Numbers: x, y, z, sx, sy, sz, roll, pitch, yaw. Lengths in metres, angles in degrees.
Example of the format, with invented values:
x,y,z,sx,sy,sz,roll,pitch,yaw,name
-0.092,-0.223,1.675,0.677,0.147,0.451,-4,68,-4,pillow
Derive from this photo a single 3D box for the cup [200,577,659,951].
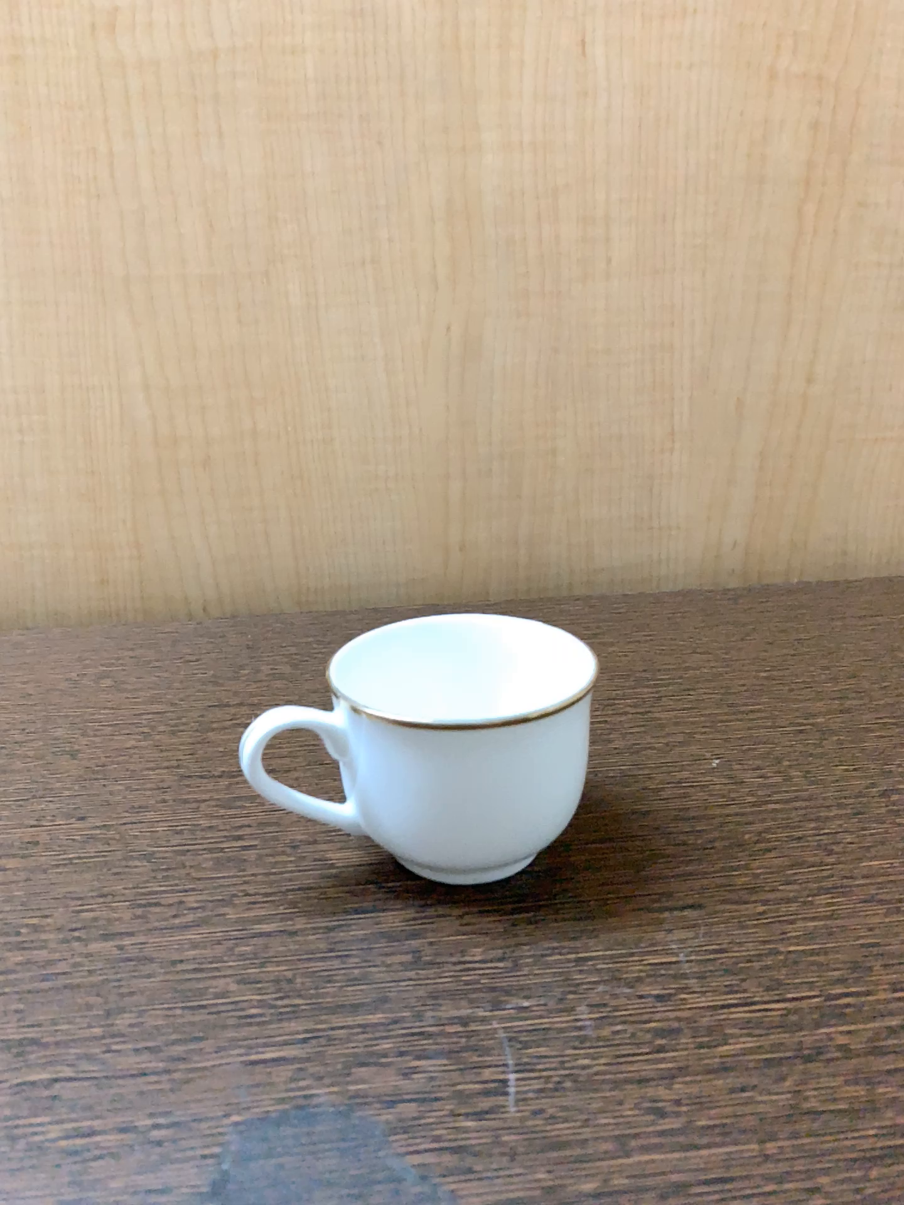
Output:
x,y,z,sx,sy,sz,roll,pitch,yaw,name
-0.008,0.031,0.219,0.090,0.050,0.060,-7,20,-17,cup
